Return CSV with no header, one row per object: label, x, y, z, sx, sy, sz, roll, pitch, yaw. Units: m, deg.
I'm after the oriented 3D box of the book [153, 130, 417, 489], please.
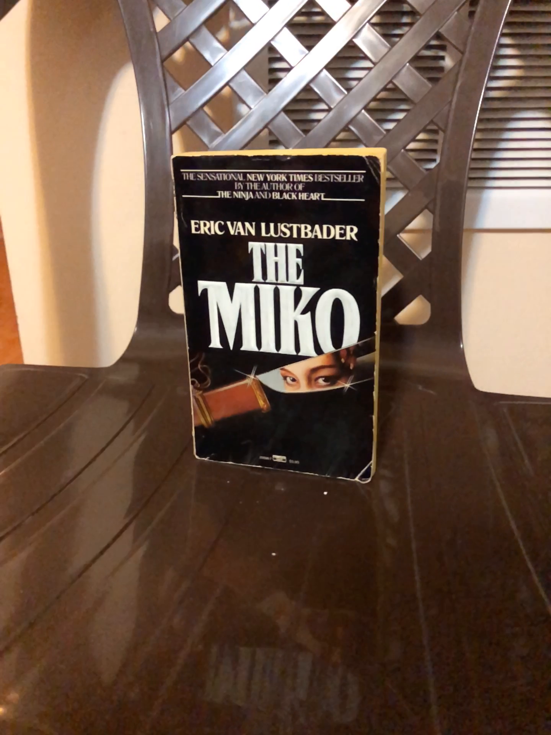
book,0.004,-0.031,0.317,0.120,0.169,0.040,5,18,14
